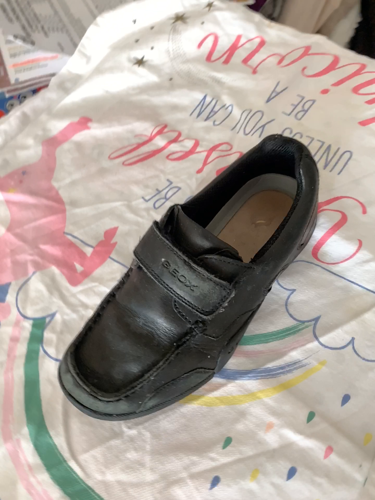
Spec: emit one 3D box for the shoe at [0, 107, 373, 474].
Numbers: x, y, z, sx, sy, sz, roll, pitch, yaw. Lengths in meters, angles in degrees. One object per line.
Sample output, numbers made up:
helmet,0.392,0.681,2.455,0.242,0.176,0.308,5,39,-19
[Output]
shoe,0.013,0.033,0.278,0.080,0.139,0.220,39,73,23
